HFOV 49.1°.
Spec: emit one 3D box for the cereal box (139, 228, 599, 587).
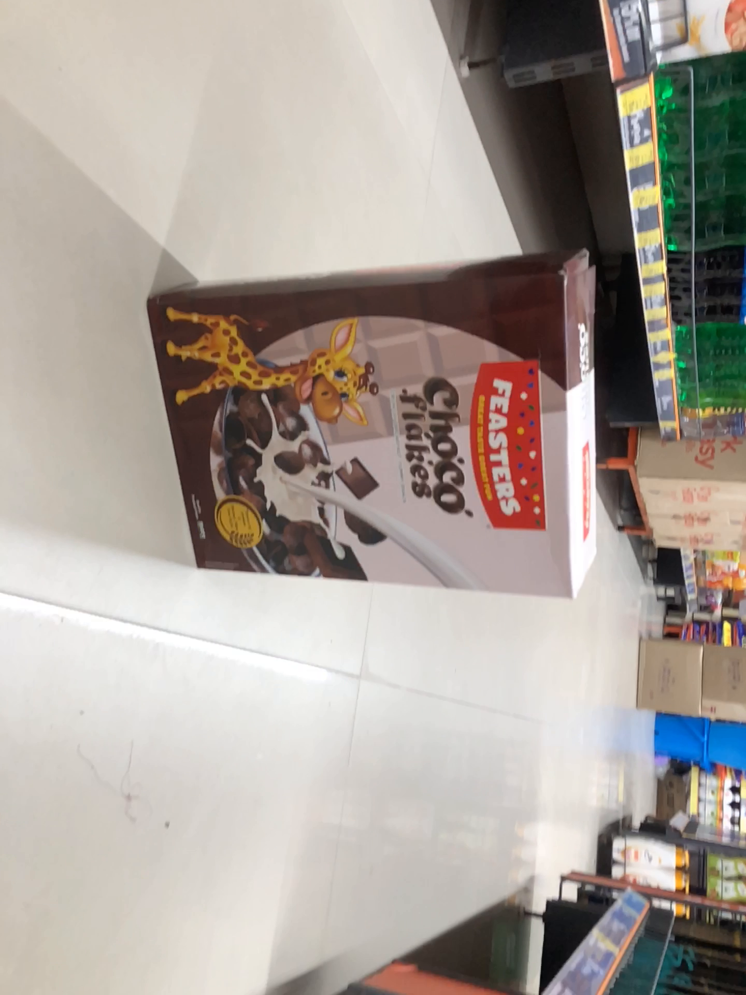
[{"bbox_3d":[0.000,-0.052,0.504,0.060,0.258,0.190,-44,131,-60],"label":"cereal box"}]
